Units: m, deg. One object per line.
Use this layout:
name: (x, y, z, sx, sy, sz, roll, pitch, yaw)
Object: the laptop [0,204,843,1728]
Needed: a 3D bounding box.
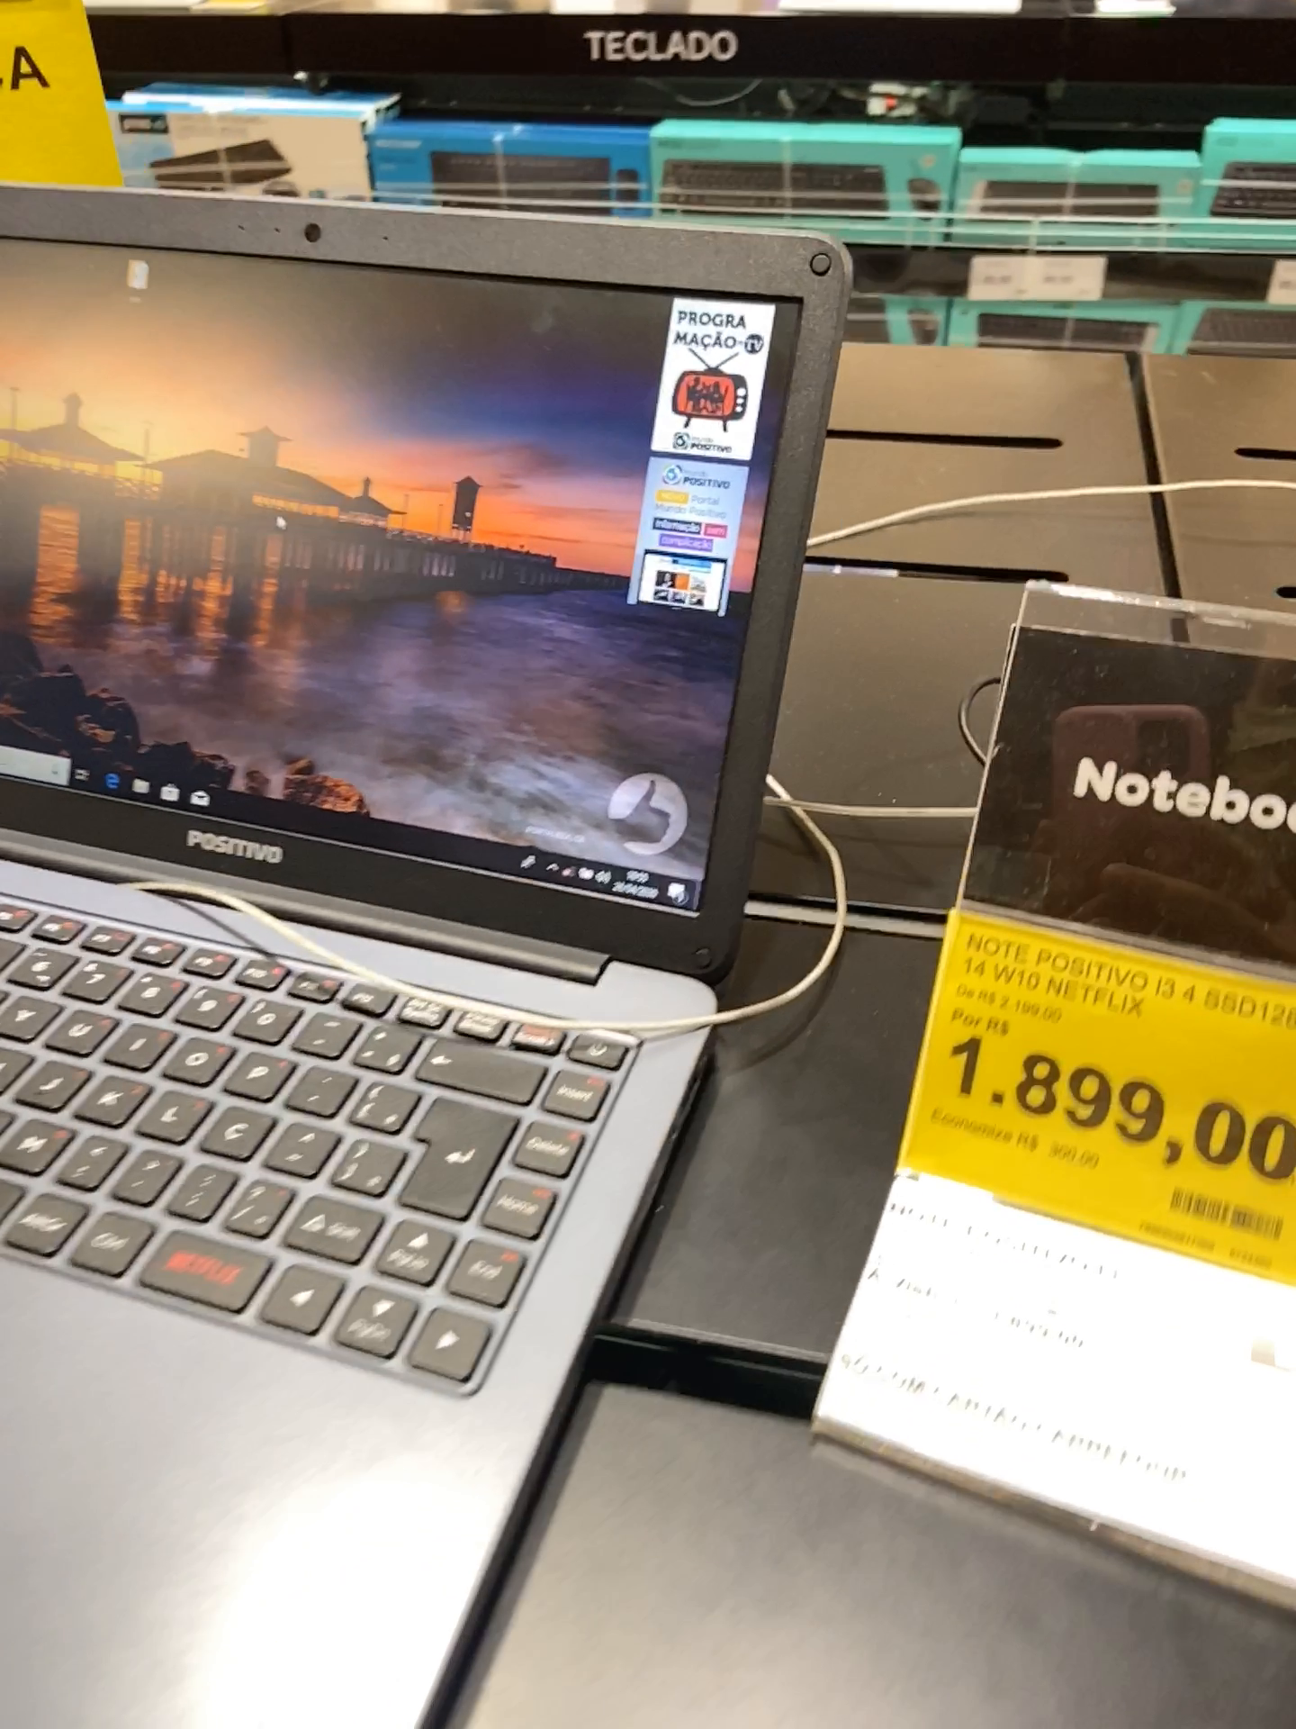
laptop: (-0.156, -0.029, 0.338, 0.332, 0.171, 0.343, 11, 39, 16)
